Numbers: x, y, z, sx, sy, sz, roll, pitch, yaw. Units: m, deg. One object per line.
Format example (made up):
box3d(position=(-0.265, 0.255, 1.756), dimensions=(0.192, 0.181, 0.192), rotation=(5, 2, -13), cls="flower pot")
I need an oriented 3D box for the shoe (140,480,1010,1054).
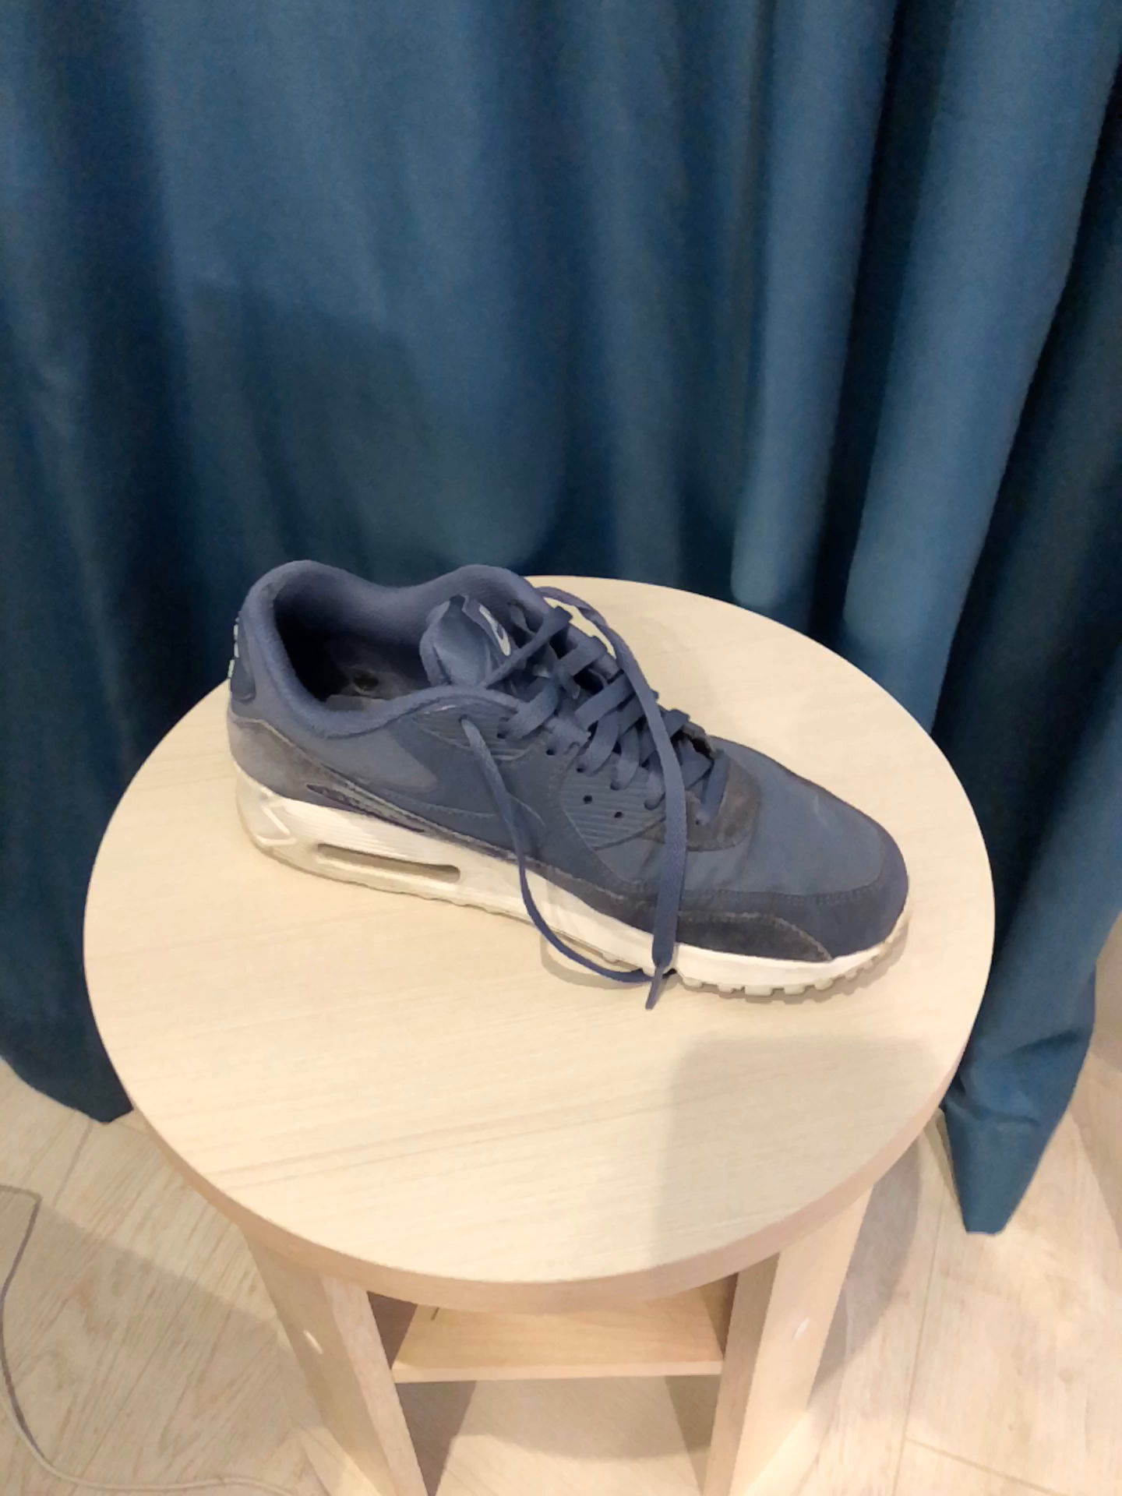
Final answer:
box3d(position=(0.006, -0.001, 0.461), dimensions=(0.280, 0.109, 0.111), rotation=(13, 44, 14), cls="shoe")
